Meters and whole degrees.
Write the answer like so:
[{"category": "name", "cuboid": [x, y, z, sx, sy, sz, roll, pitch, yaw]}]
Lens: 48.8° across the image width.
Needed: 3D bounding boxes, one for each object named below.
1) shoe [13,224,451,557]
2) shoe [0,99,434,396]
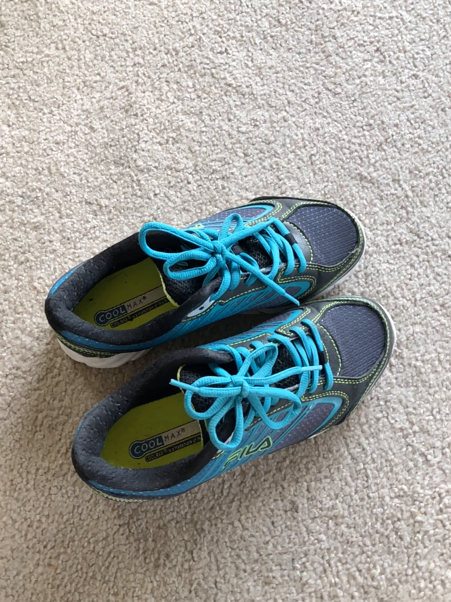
[{"category": "shoe", "cuboid": [0.018, 0.061, 0.354, 0.271, 0.119, 0.105, -21, 74, -5]}, {"category": "shoe", "cuboid": [-0.010, -0.032, 0.381, 0.274, 0.119, 0.102, -22, 77, -6]}]
